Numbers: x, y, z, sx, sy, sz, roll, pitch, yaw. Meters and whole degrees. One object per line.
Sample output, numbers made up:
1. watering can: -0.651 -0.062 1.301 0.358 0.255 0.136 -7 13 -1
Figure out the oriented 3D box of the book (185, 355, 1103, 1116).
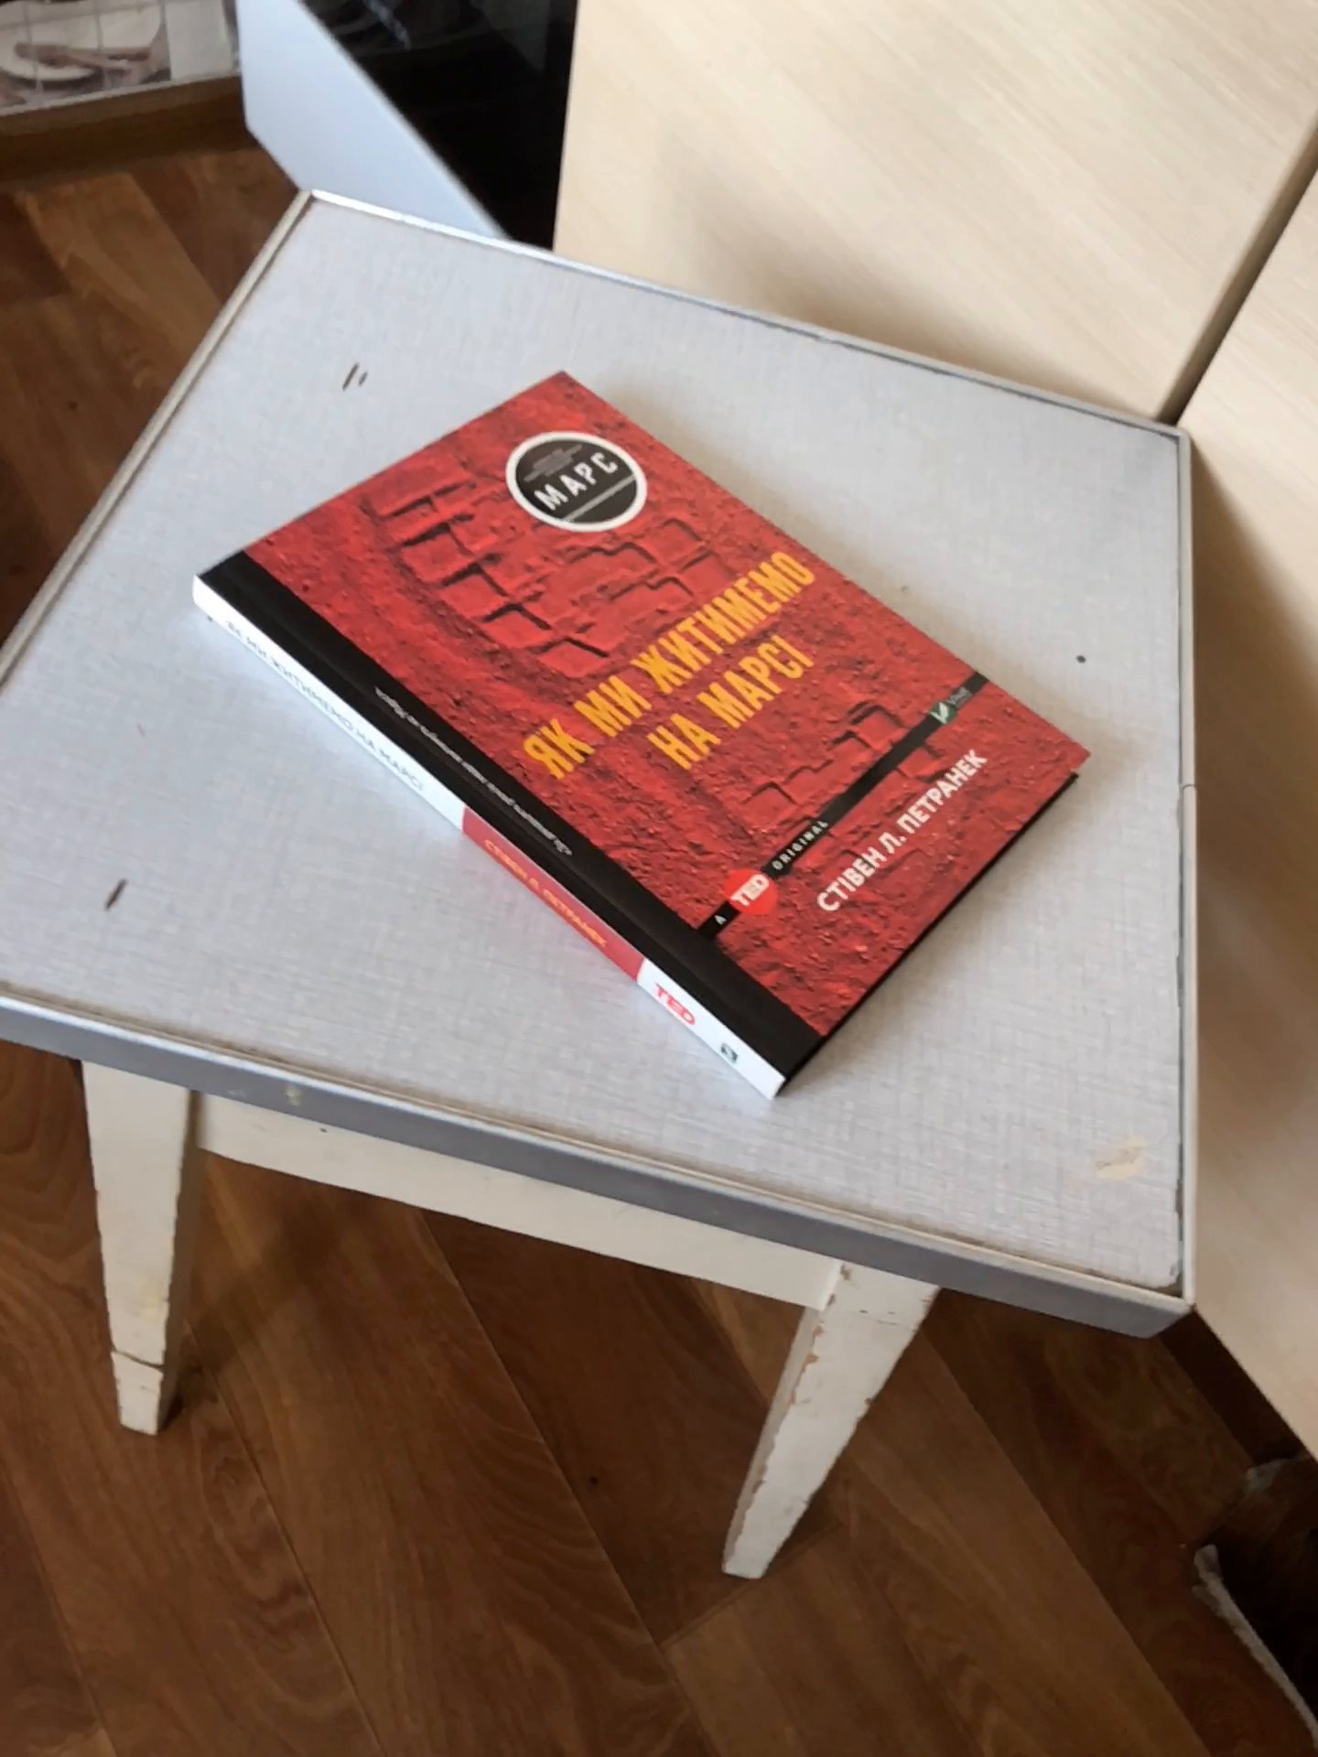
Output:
1. book: -0.003 -0.055 0.409 0.209 0.020 0.151 40 58 16
